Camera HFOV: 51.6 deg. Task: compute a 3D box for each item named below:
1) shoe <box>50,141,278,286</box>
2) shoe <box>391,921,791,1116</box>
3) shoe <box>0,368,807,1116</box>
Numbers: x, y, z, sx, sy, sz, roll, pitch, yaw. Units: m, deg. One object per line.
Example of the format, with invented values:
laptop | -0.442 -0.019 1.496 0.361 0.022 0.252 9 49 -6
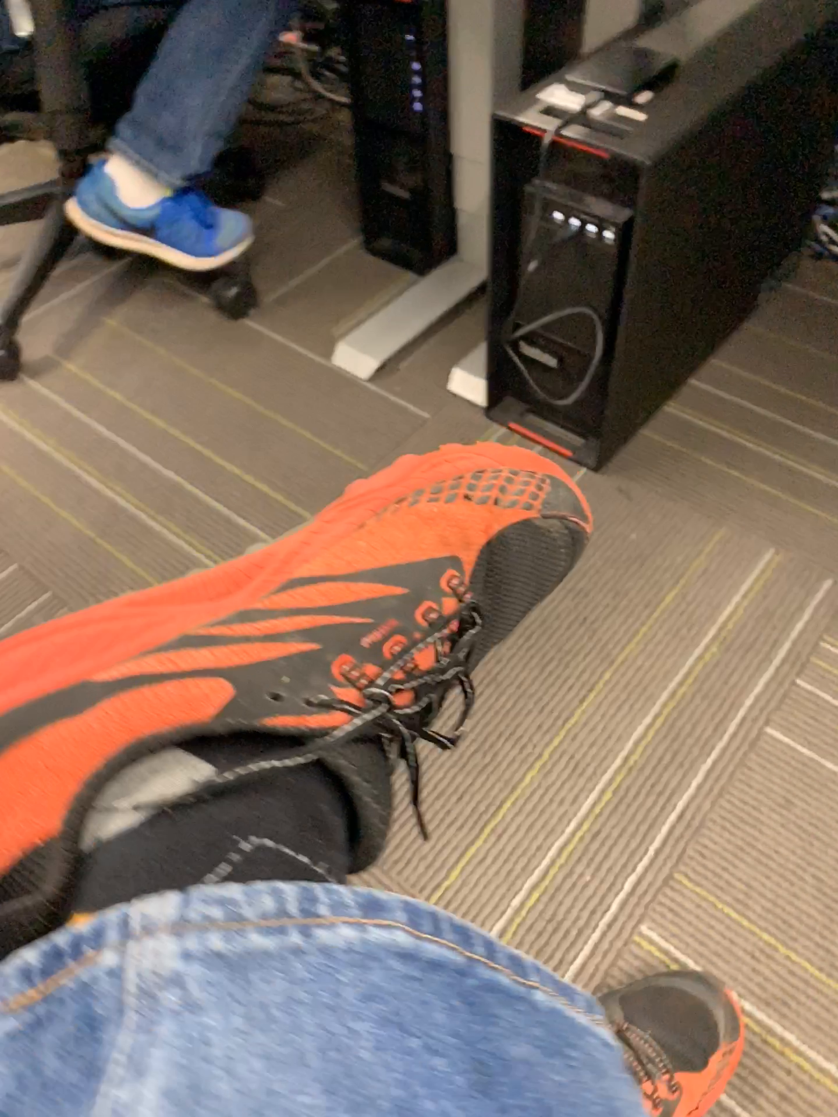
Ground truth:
shoe | -0.410 -0.554 1.413 0.318 0.116 0.115 -3 47 -41
shoe | 0.145 0.454 0.734 0.318 0.067 0.118 -26 58 -17
shoe | -0.025 0.062 0.342 0.321 0.110 0.146 -30 49 -22
